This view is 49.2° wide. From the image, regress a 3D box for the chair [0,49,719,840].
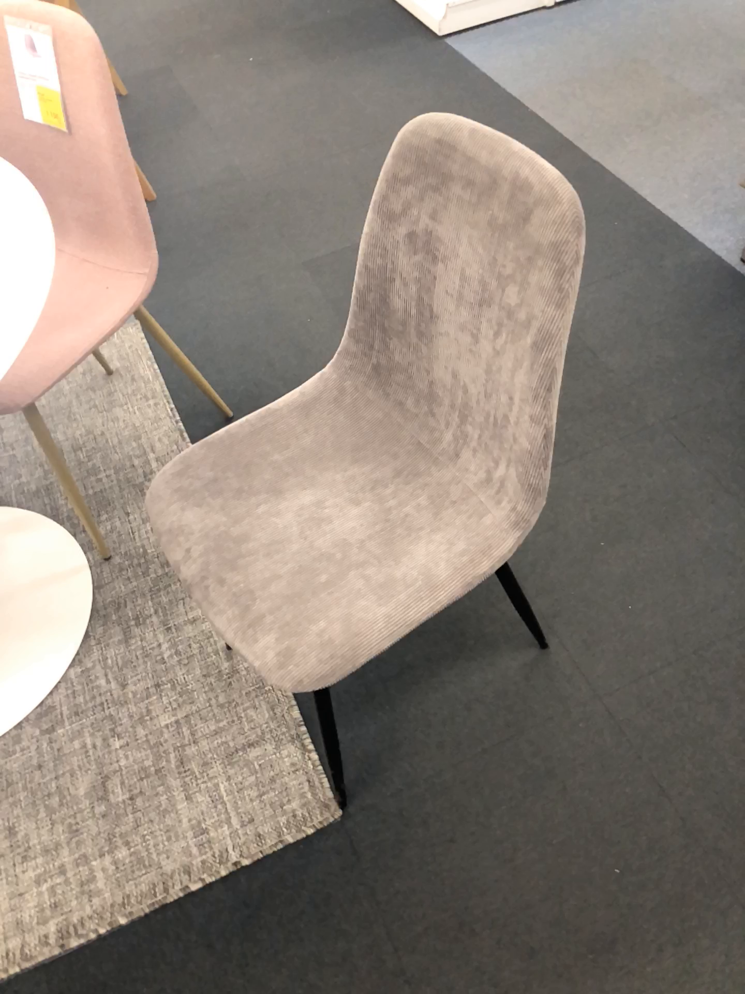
[{"bbox_3d":[-0.030,-0.042,1.184,0.581,0.807,0.581,-30,55,-17],"label":"chair"}]
